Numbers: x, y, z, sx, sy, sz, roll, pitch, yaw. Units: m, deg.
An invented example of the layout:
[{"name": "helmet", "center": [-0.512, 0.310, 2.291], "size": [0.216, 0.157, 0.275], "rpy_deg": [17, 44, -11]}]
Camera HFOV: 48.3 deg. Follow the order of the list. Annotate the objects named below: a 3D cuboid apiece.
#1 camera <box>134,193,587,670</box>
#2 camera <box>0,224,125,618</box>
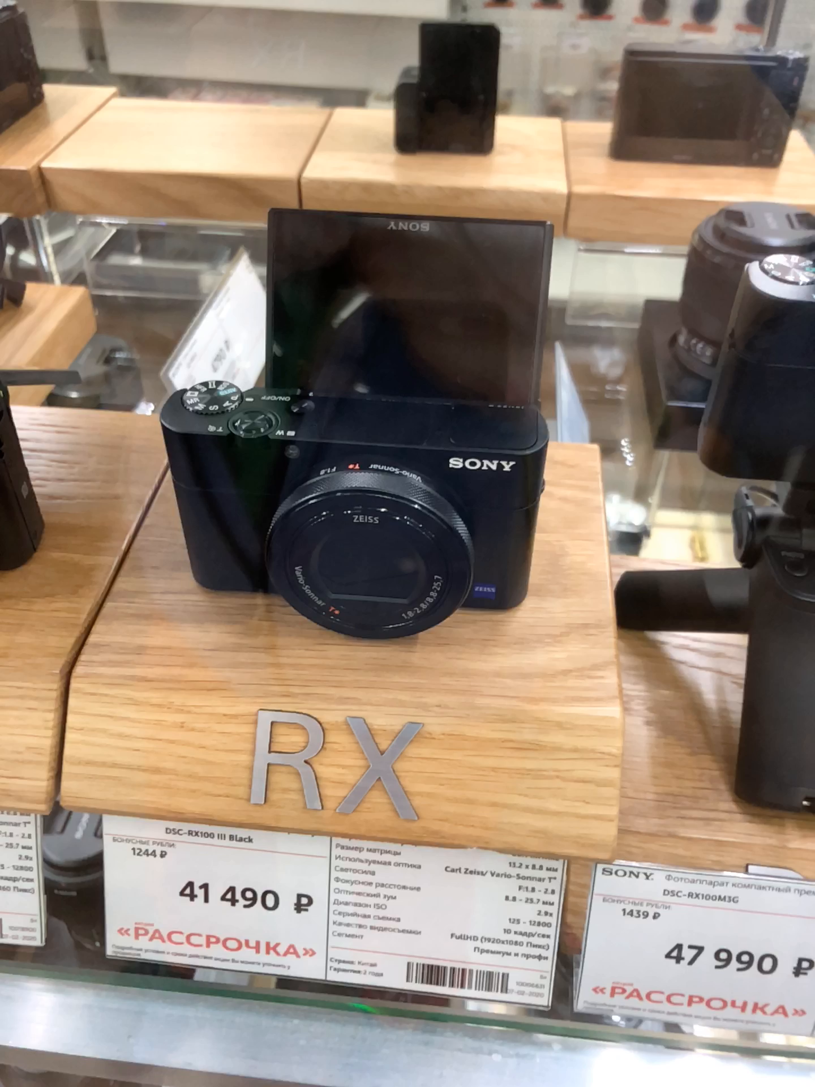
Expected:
[{"name": "camera", "center": [-0.009, -0.027, 0.257], "size": [0.100, 0.119, 0.050], "rpy_deg": [5, 42, 4]}, {"name": "camera", "center": [-0.157, -0.040, 0.273], "size": [0.101, 0.067, 0.097], "rpy_deg": [5, 42, 4]}]
